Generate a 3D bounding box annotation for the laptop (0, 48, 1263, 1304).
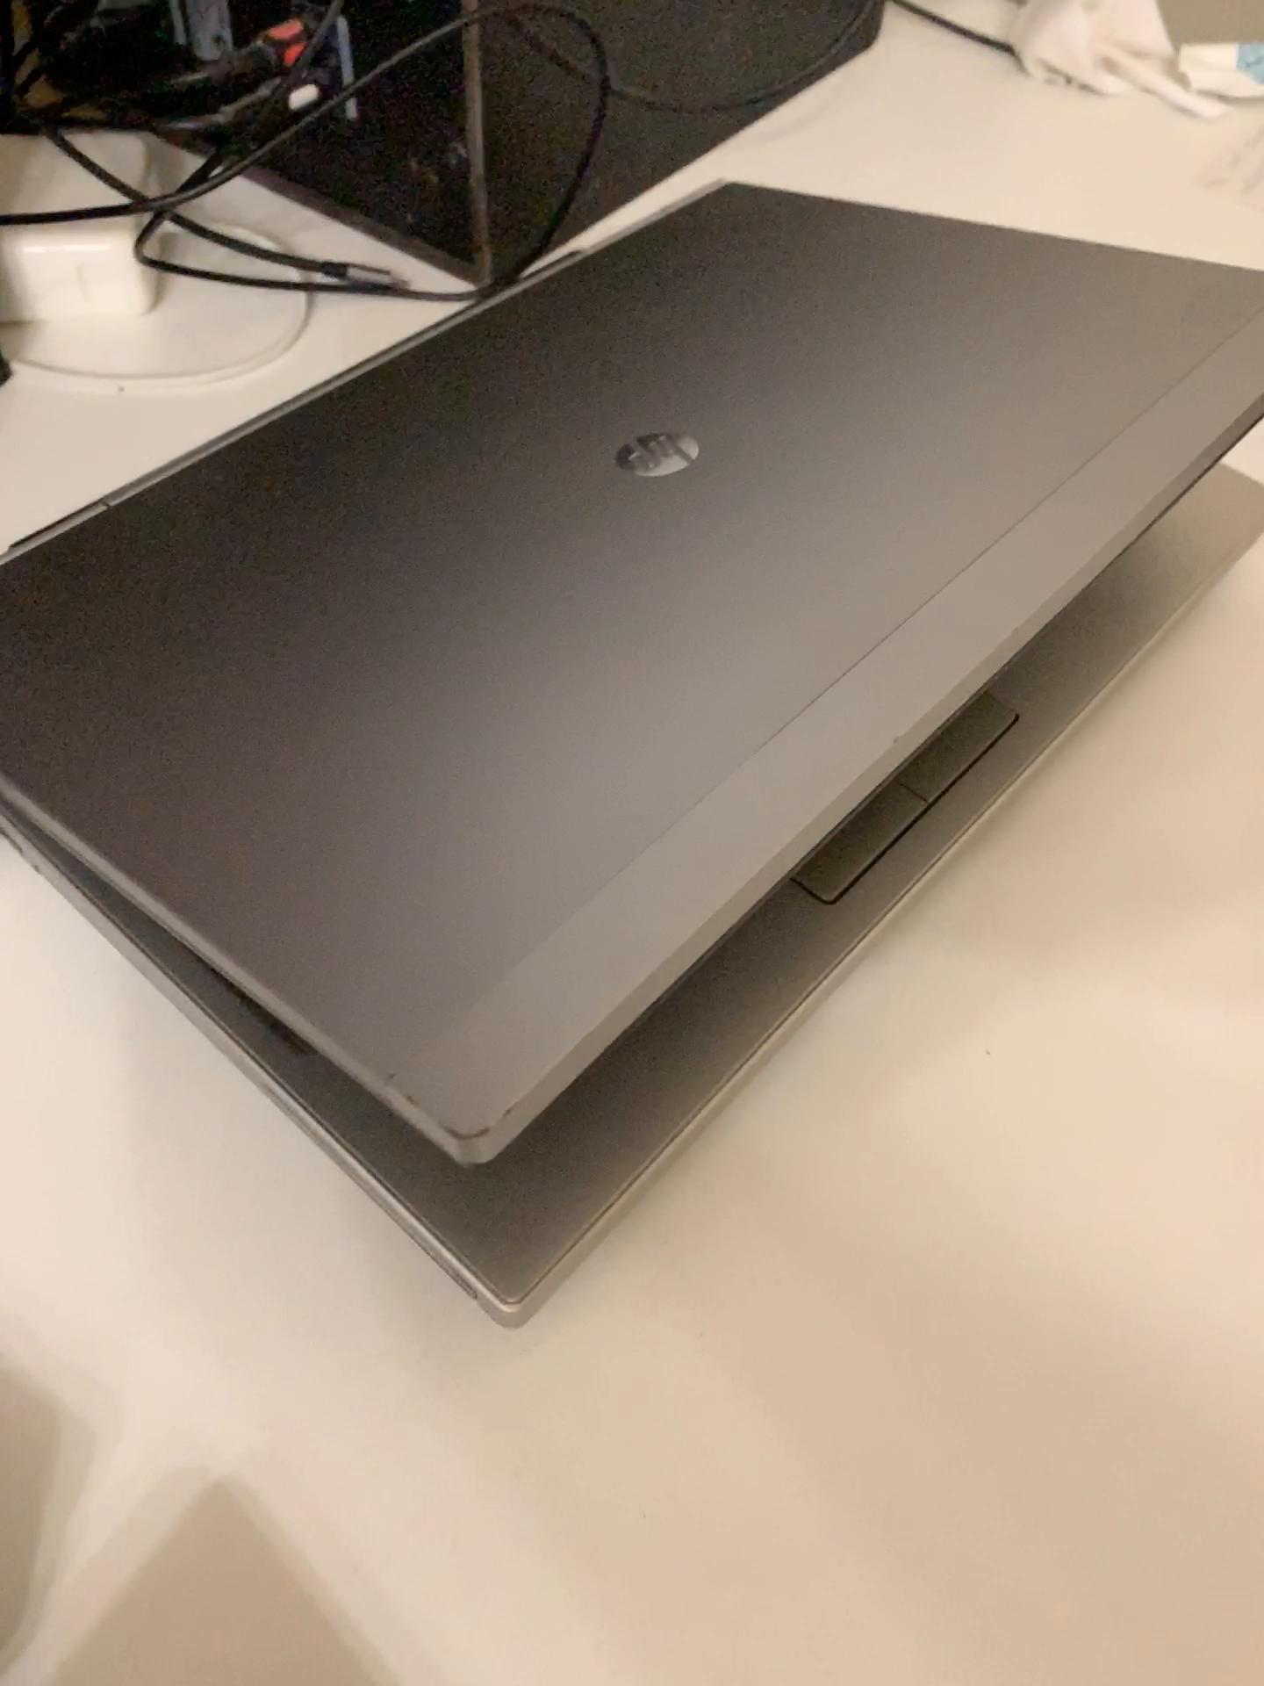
[{"bbox_3d":[0.002,-0.083,0.311,0.200,0.042,0.305,38,59,18],"label":"laptop"}]
